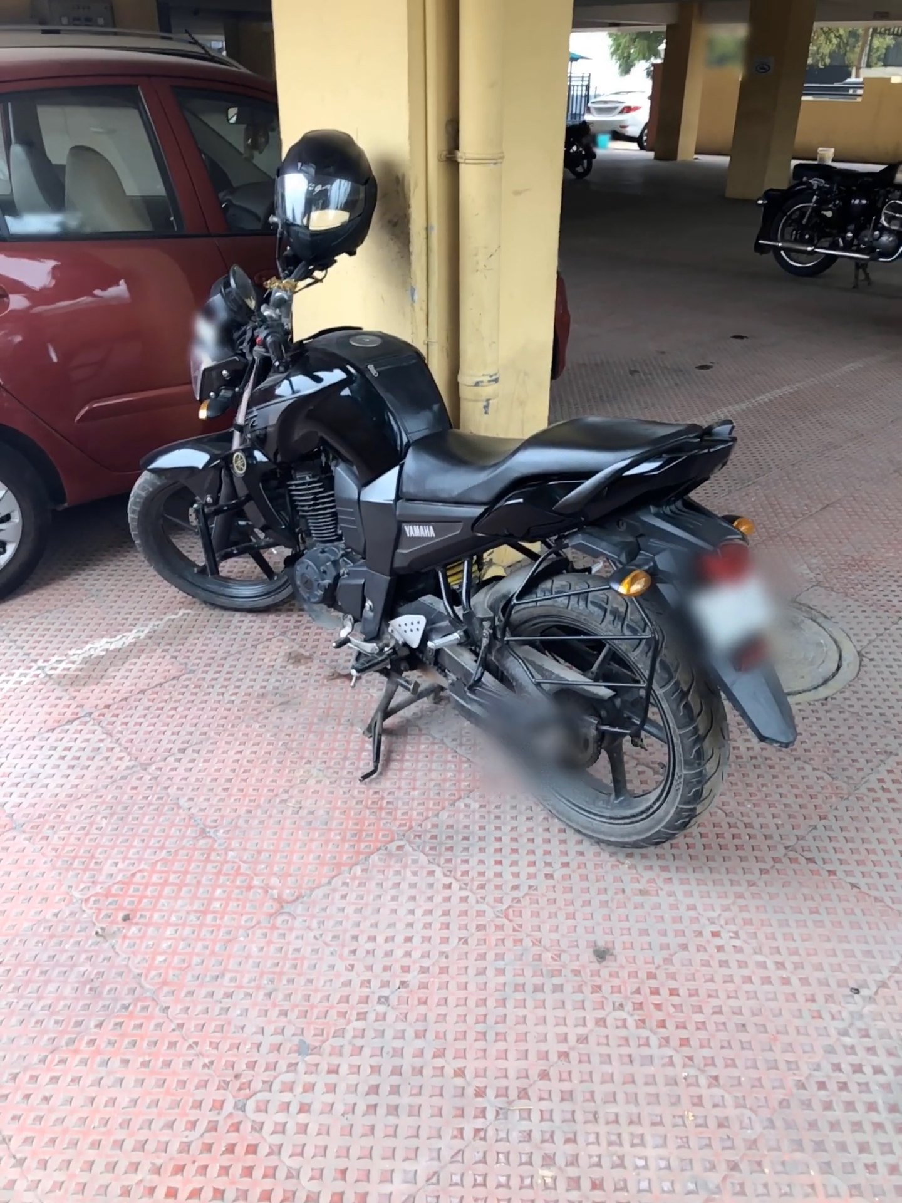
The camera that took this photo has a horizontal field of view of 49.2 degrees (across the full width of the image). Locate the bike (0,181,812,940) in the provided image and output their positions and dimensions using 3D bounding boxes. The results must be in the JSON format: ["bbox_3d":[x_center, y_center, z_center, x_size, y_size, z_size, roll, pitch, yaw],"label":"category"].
[{"bbox_3d":[-0.302,-0.254,2.216,1.801,1.052,0.612,23,35,32],"label":"bike"}]
